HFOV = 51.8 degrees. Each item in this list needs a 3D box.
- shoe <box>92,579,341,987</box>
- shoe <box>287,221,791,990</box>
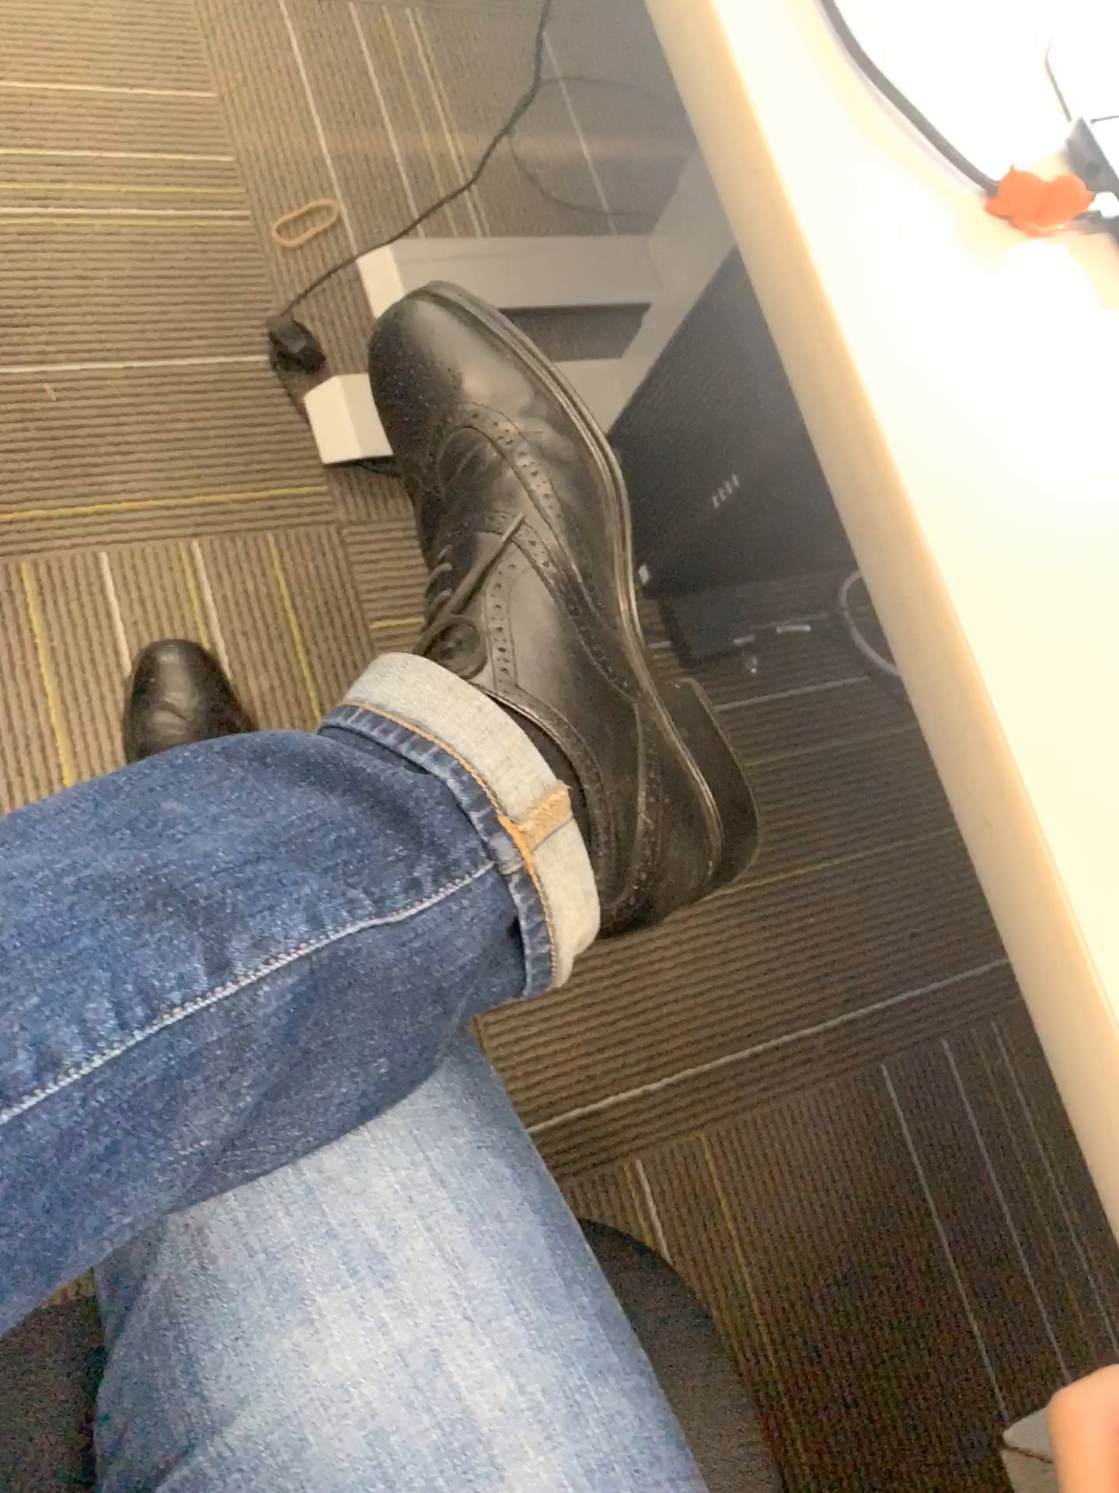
[{"bbox_3d":[-0.264,0.027,0.873,0.111,0.104,0.274,-13,77,-24],"label":"shoe"},{"bbox_3d":[-0.020,-0.055,0.462,0.091,0.111,0.274,-12,77,-27],"label":"shoe"}]
